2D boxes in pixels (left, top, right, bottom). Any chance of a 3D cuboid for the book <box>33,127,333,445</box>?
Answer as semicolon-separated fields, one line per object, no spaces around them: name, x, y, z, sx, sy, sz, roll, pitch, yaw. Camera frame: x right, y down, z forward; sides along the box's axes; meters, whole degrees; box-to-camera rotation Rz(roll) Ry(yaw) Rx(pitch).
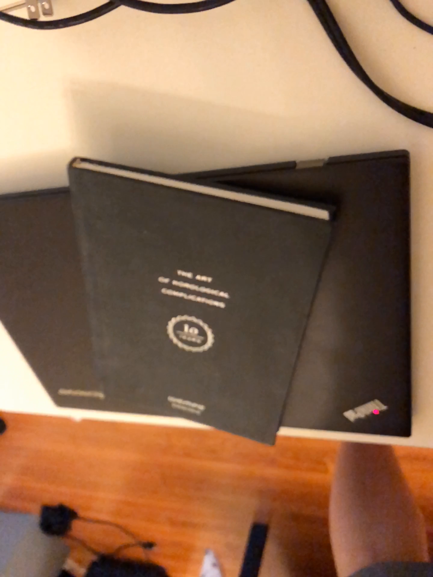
book;-0.027;0.013;0.349;0.170;0.030;0.221;14;130;10
